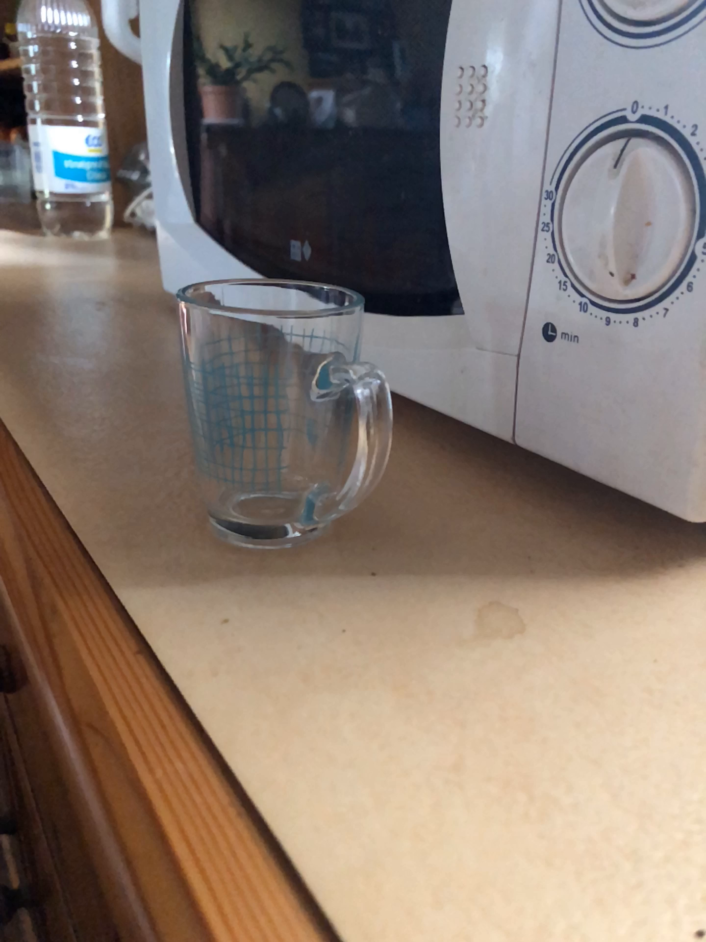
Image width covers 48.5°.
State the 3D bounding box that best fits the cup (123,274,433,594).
[{"bbox_3d":[-0.026,-0.018,0.245,0.060,0.070,0.080,-13,27,-32],"label":"cup"}]
